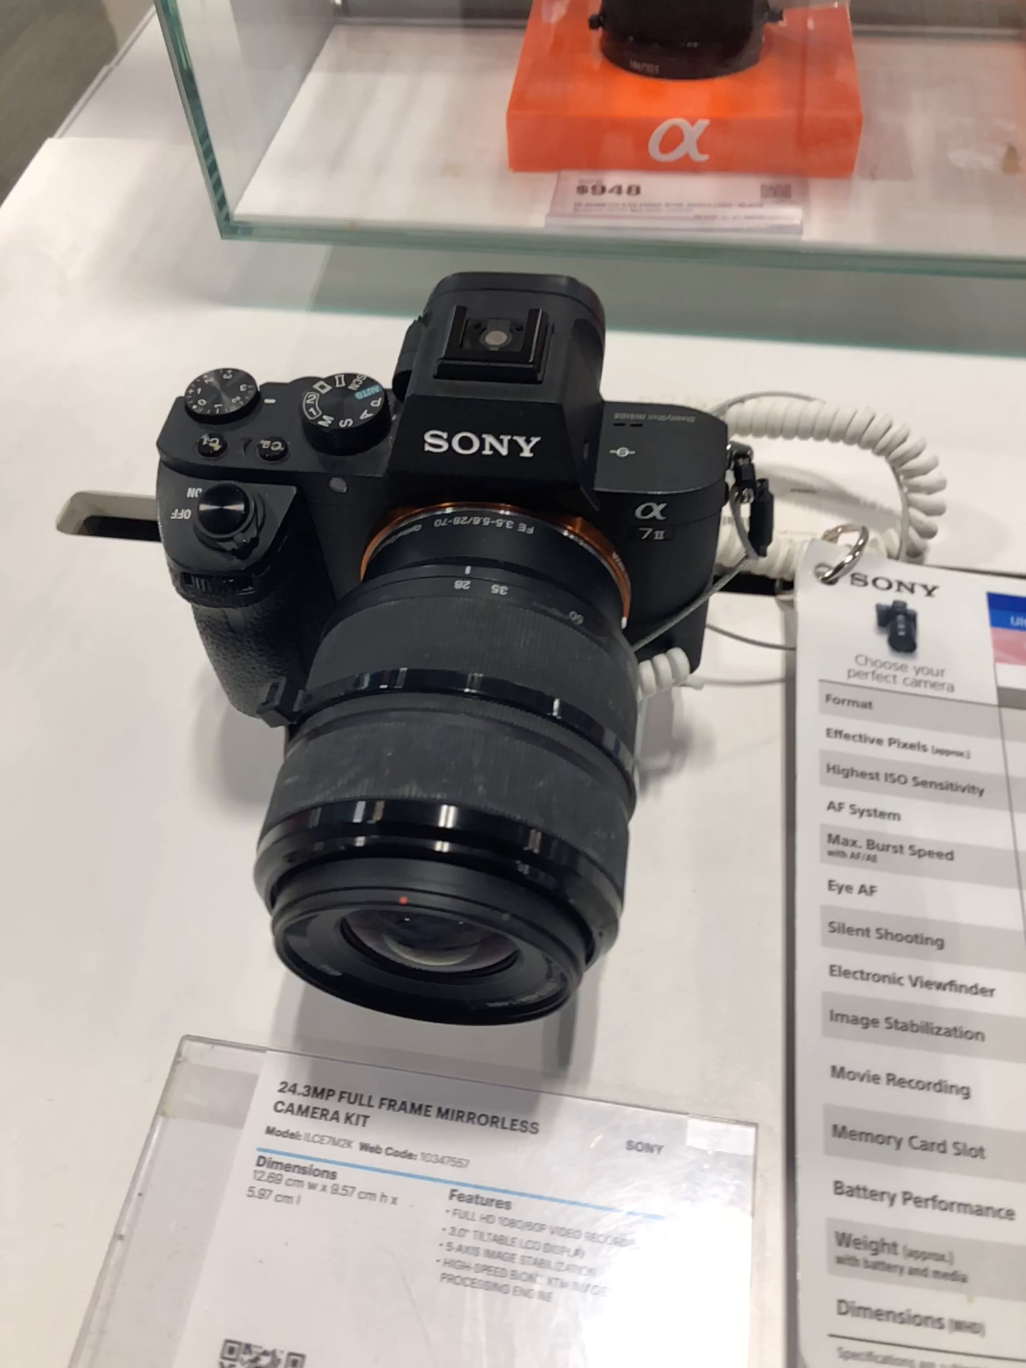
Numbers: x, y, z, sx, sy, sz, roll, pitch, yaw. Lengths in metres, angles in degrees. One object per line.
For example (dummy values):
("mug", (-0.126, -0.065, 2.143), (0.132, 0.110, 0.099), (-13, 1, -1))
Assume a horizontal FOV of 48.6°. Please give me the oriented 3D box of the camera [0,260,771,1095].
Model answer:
("camera", (-0.019, -0.006, 0.237), (0.130, 0.089, 0.141), (4, 54, 7))
